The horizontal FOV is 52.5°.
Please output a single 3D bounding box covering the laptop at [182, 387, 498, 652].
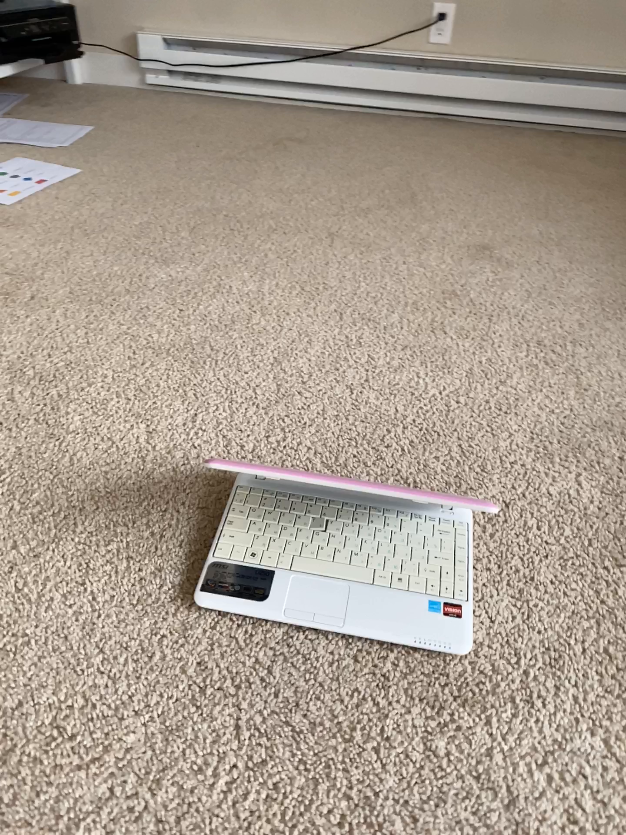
[{"bbox_3d":[0.036,0.099,0.683,0.290,0.125,0.194,8,42,7],"label":"laptop"}]
